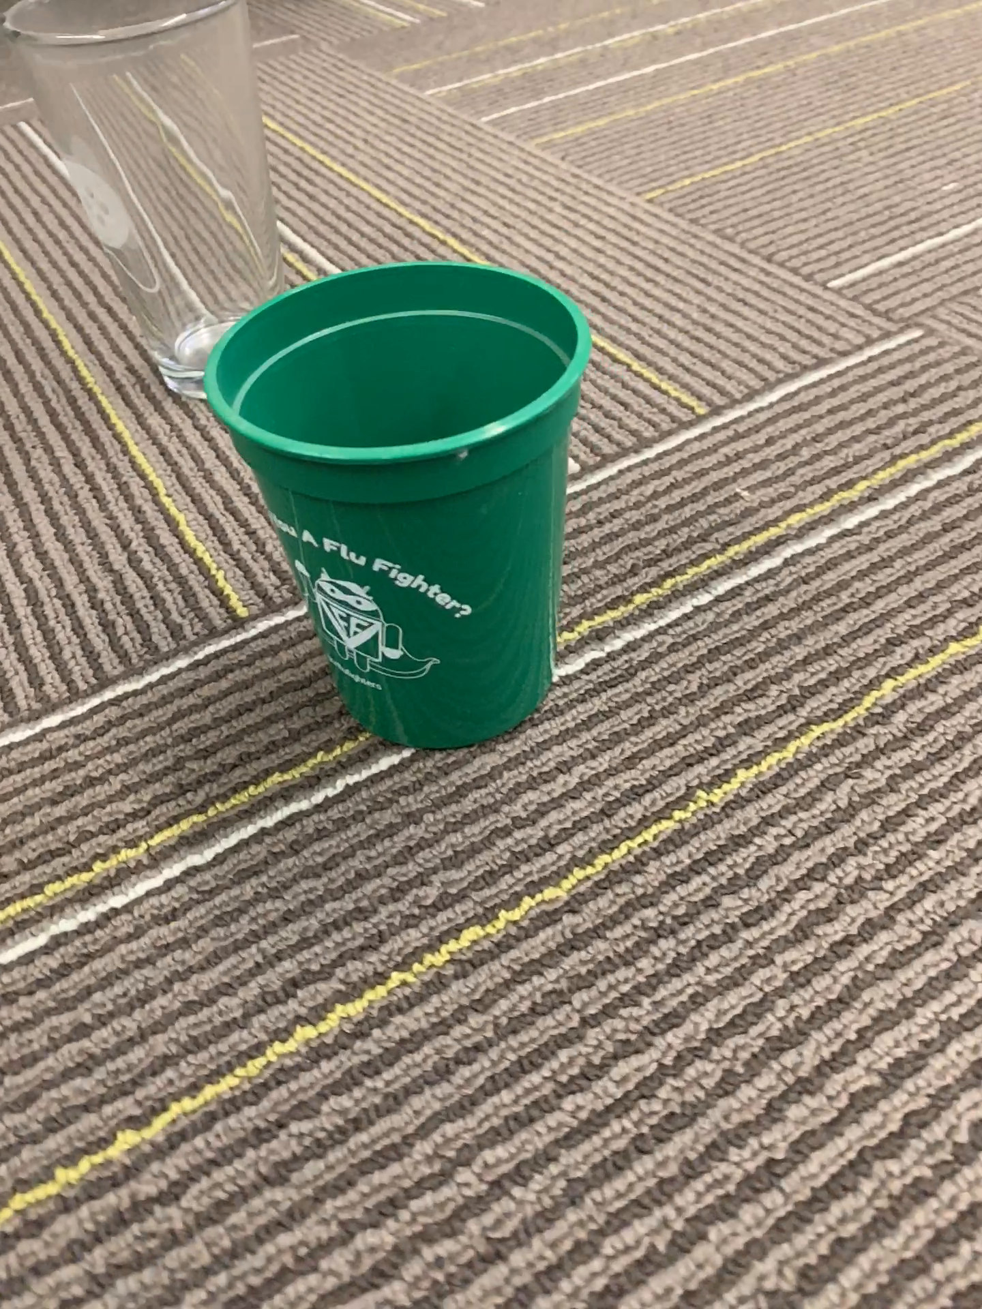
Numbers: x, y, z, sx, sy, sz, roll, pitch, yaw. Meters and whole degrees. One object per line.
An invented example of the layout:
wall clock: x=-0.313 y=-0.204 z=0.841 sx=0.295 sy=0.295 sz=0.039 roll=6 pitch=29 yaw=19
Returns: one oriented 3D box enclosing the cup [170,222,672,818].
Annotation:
cup: x=-0.012 y=-0.038 z=0.283 sx=0.090 sy=0.119 sz=0.080 roll=26 pitch=53 yaw=29
